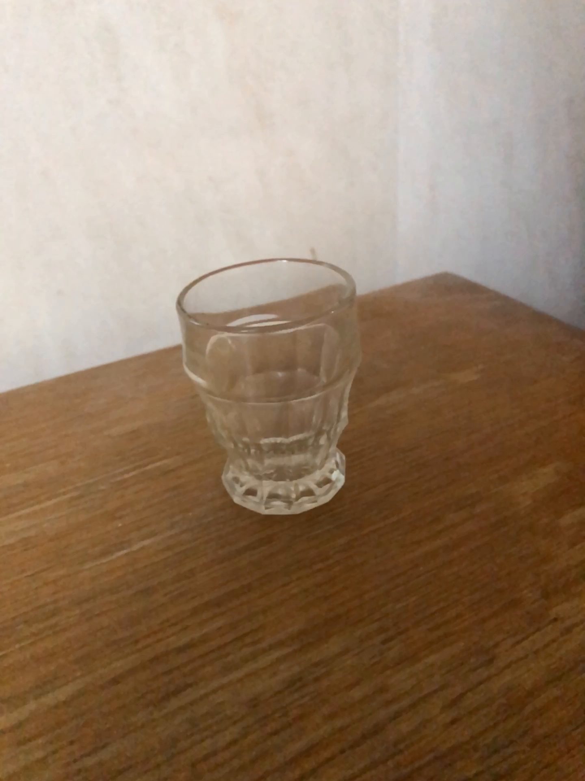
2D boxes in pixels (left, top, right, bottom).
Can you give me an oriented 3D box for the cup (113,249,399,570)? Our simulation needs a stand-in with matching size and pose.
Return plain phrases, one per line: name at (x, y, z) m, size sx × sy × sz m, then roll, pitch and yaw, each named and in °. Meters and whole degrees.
cup at (-0.009, 0.001, 0.211) m, size 0.060 × 0.070 × 0.060 m, roll -3°, pitch 28°, yaw 2°
